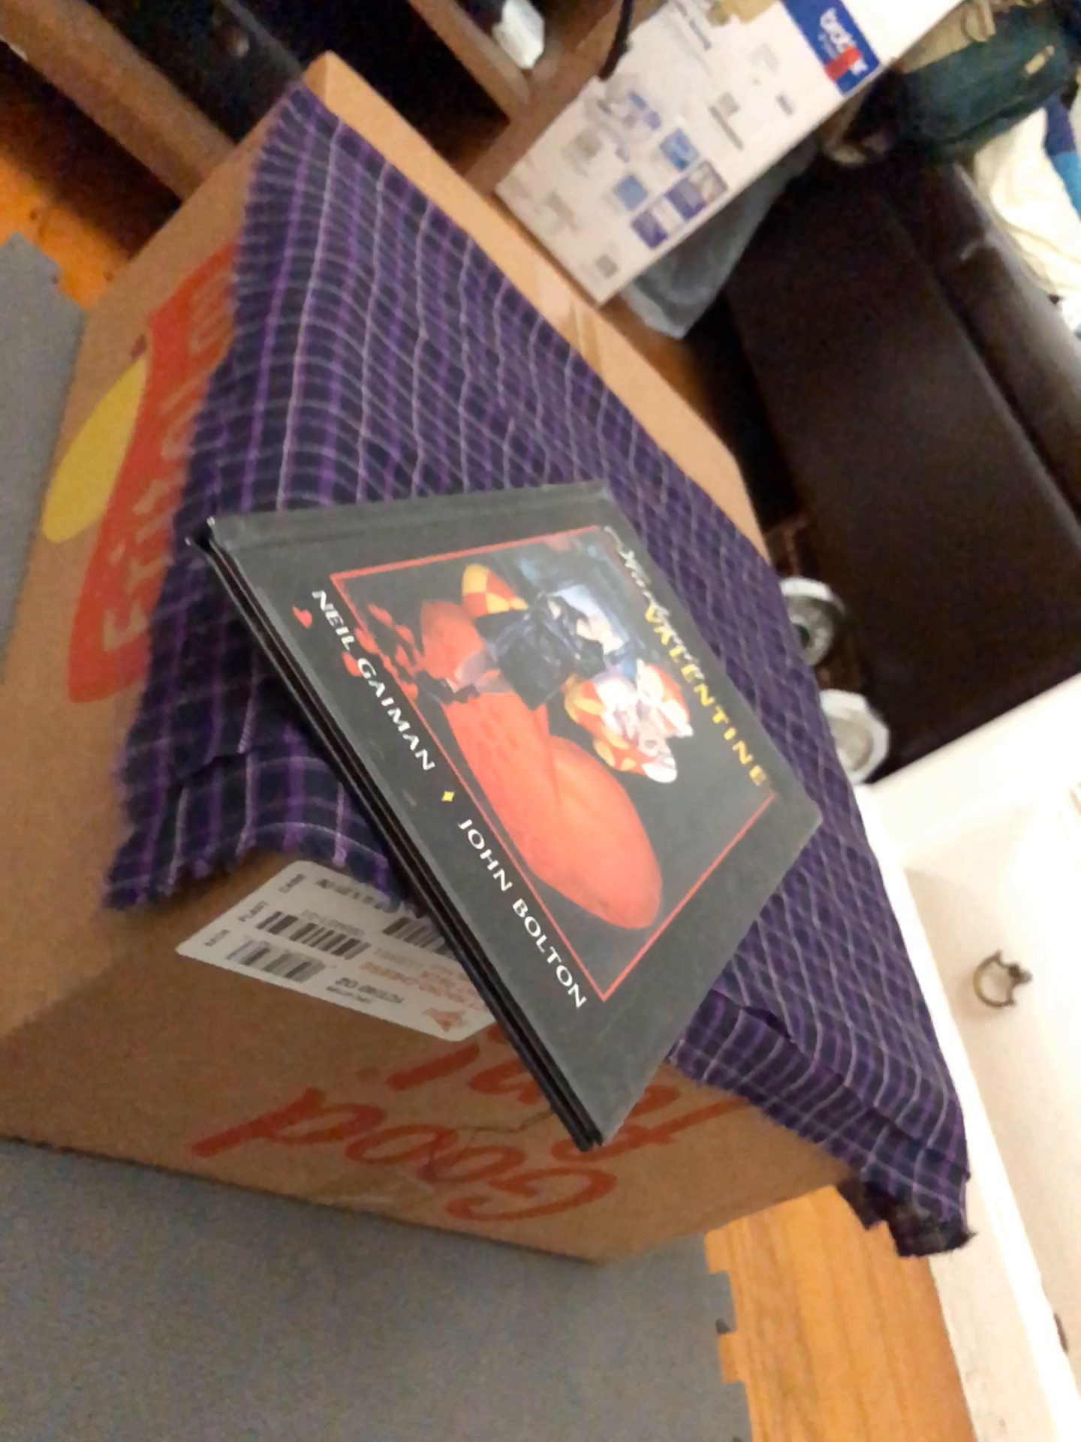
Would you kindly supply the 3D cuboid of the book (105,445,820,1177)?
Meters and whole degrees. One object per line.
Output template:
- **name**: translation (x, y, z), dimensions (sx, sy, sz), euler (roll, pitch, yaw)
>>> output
- **book**: translation (0.010, -0.008, 0.397), dimensions (0.180, 0.020, 0.282), euler (57, 26, 1)
